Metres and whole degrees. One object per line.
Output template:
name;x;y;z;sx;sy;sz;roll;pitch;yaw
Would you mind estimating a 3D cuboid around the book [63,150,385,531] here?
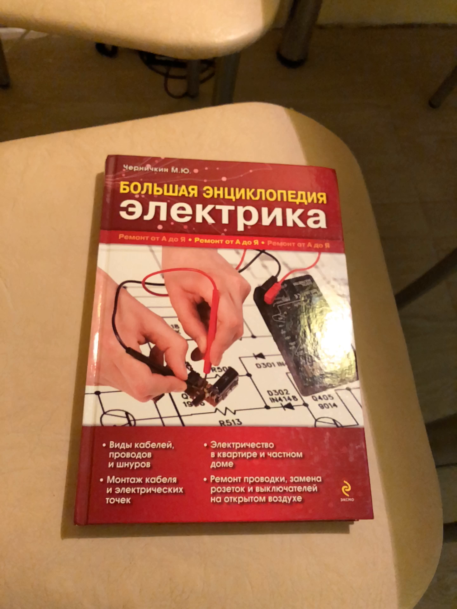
book;-0.002;0.013;0.328;0.172;0.030;0.241;2;68;-6
